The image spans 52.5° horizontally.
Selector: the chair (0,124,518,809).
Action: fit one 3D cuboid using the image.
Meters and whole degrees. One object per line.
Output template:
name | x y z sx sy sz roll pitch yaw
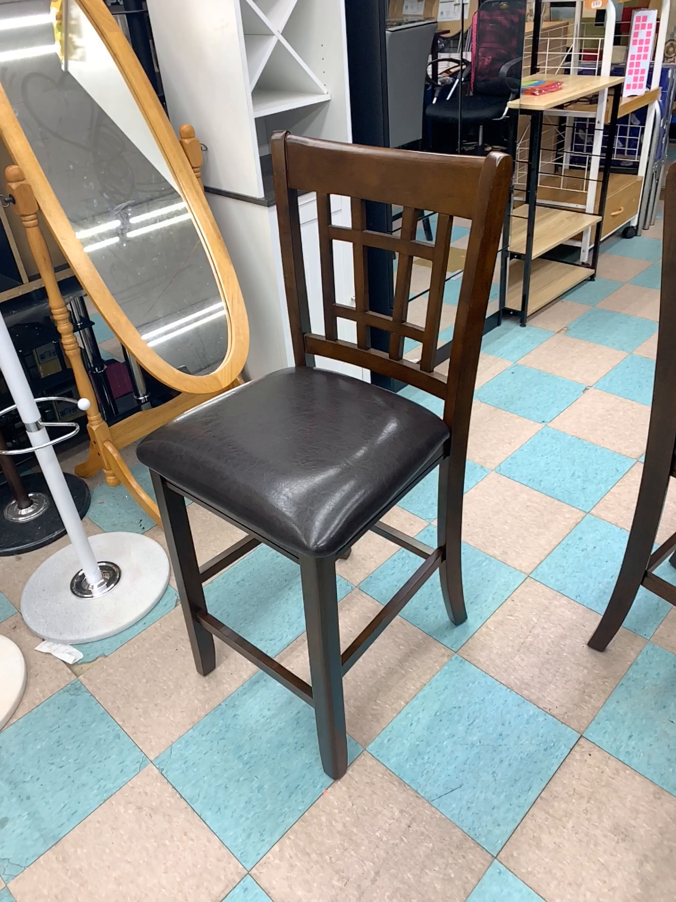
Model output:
chair | -0.077 0.010 1.084 0.469 0.849 0.482 24 45 35
